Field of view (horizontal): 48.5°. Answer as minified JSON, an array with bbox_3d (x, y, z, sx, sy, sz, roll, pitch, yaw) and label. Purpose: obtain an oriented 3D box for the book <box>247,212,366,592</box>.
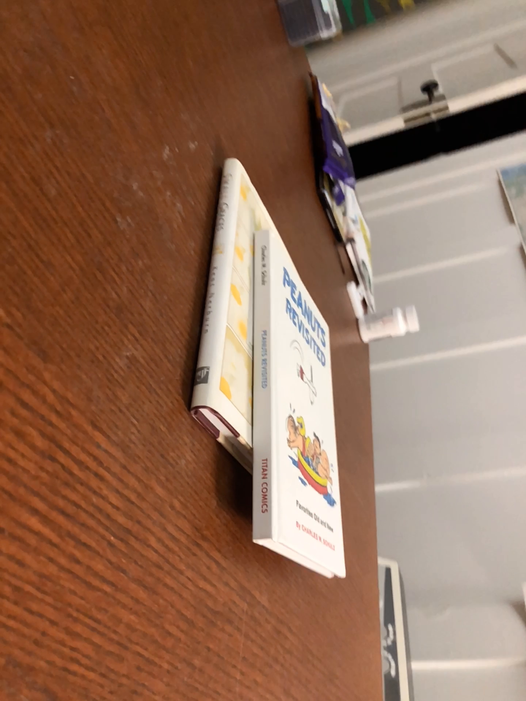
[{"bbox_3d":[0.031,0.041,0.391,0.160,0.020,0.210,49,35,-55],"label":"book"}]
